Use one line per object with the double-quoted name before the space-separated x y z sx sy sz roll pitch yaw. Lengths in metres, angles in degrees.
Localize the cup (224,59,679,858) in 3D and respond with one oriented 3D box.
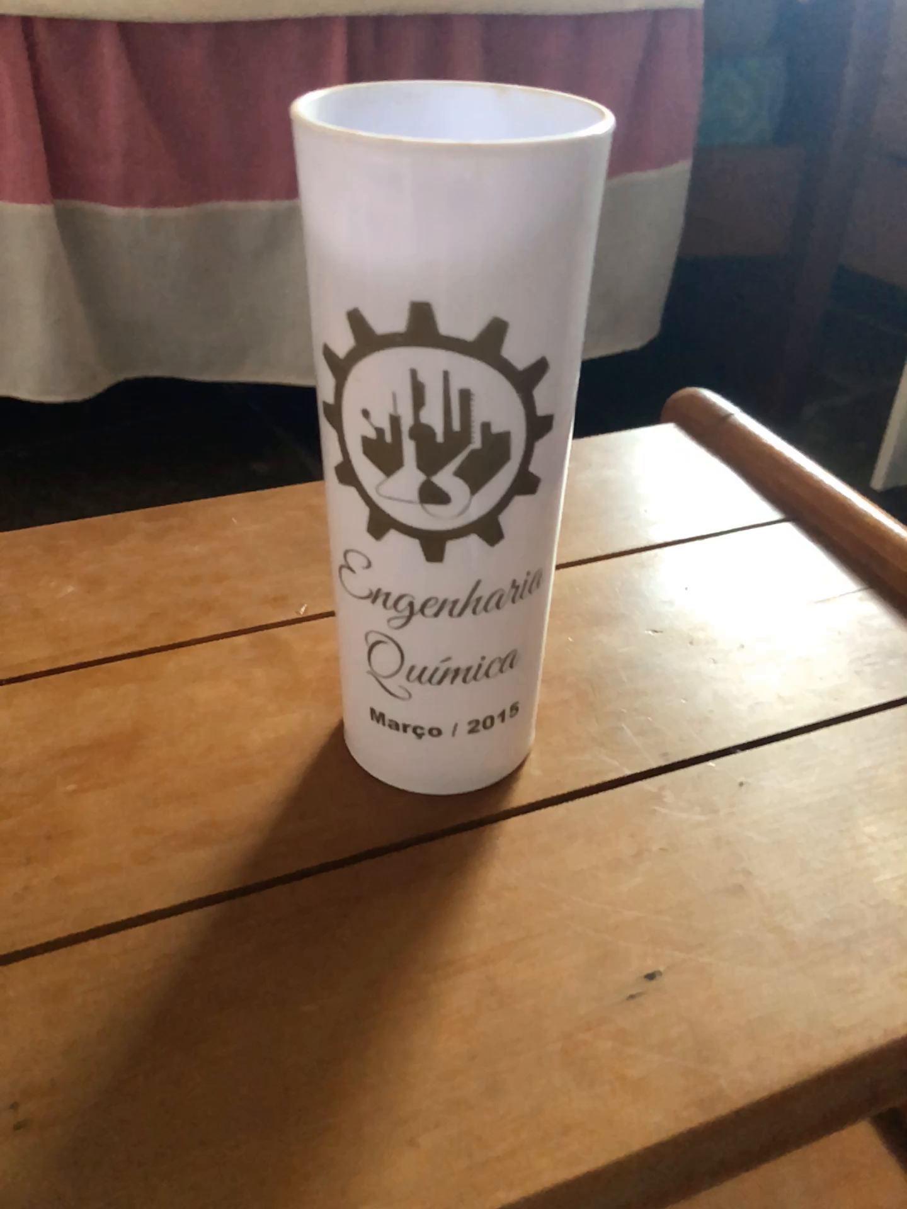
"cup" -0.007 -0.028 0.226 0.070 0.159 0.071 1 35 -1
